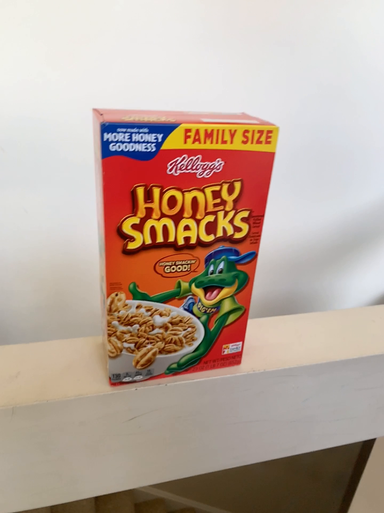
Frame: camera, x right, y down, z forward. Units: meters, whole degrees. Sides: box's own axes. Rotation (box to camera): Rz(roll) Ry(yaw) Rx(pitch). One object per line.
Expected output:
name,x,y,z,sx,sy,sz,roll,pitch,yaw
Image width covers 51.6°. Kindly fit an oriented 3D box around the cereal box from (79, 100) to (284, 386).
cereal box,-0.026,-0.013,0.517,0.210,0.338,0.101,-4,28,-16
